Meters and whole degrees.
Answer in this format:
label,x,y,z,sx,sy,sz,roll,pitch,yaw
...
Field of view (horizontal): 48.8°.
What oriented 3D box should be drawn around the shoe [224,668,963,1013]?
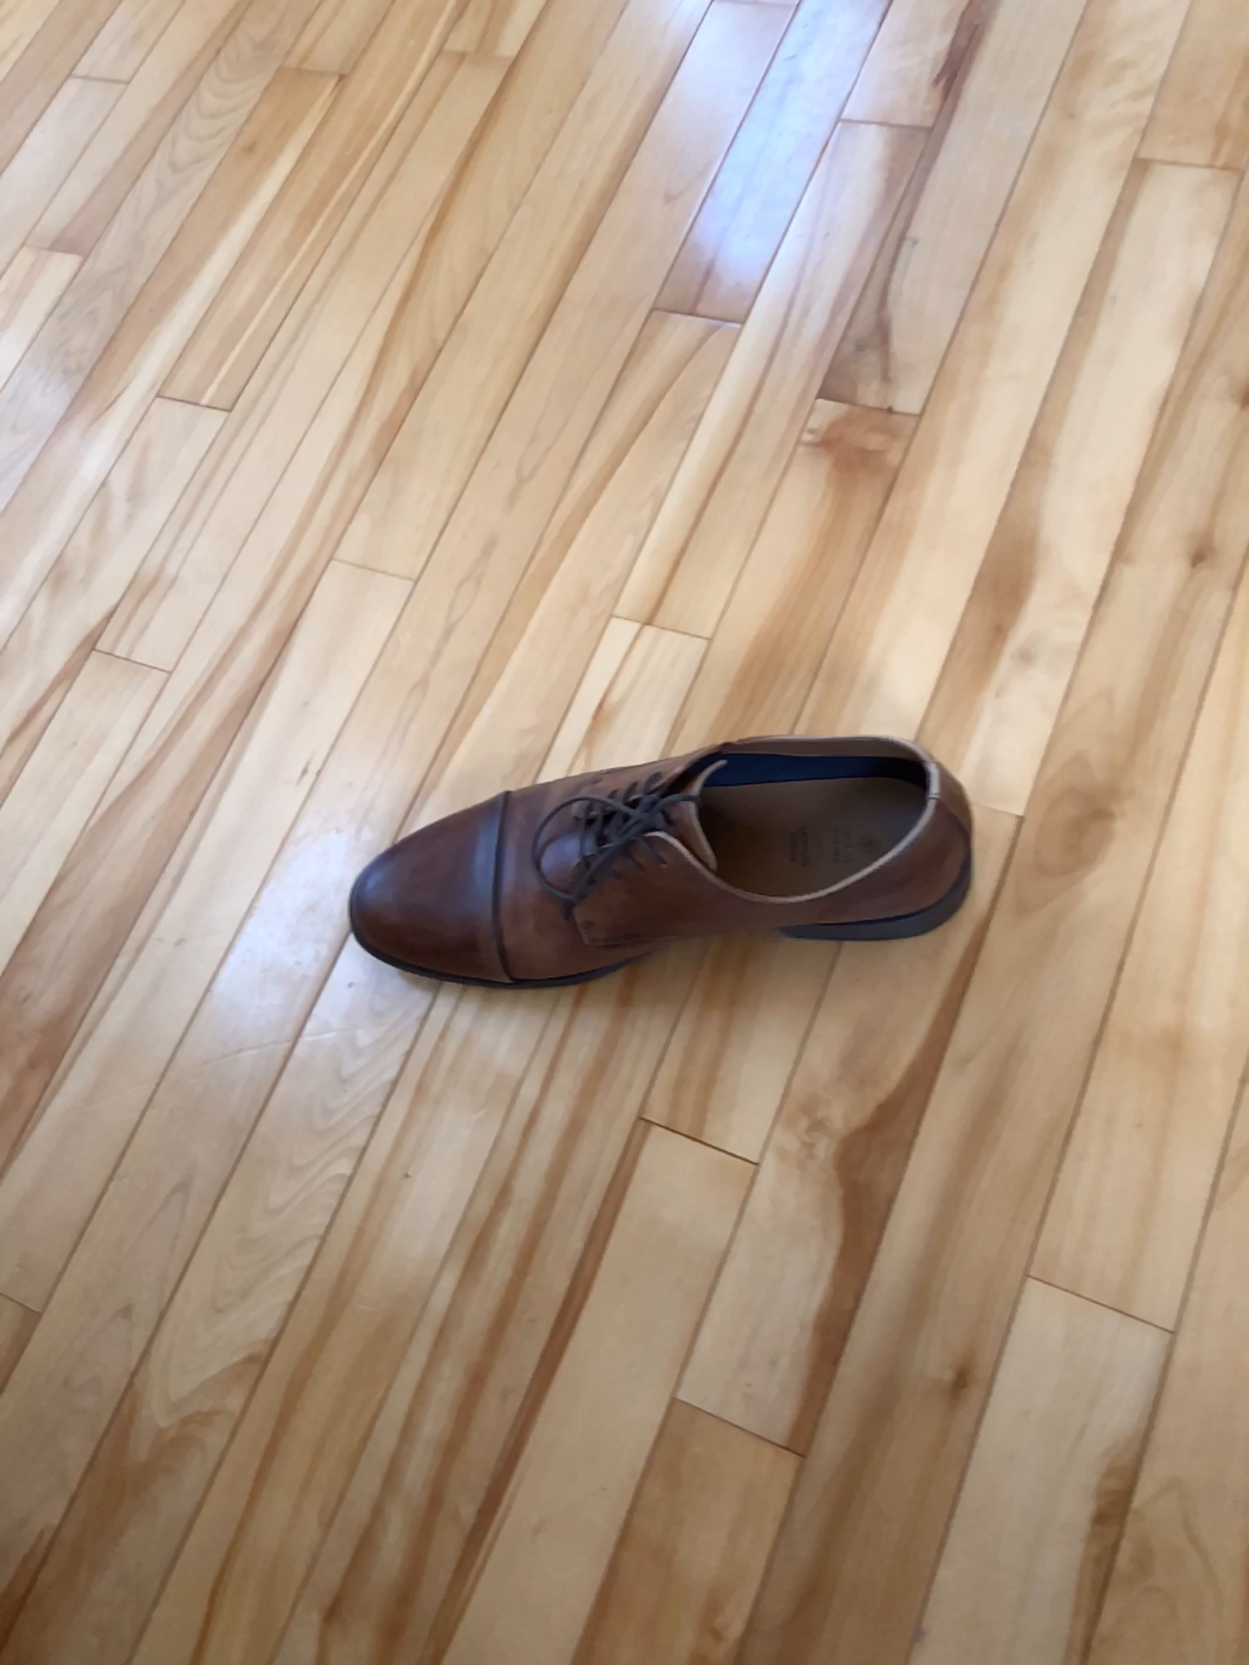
label,x,y,z,sx,sy,sz,roll,pitch,yaw
shoe,-0.010,0.011,0.625,0.310,0.100,0.100,-5,66,12
